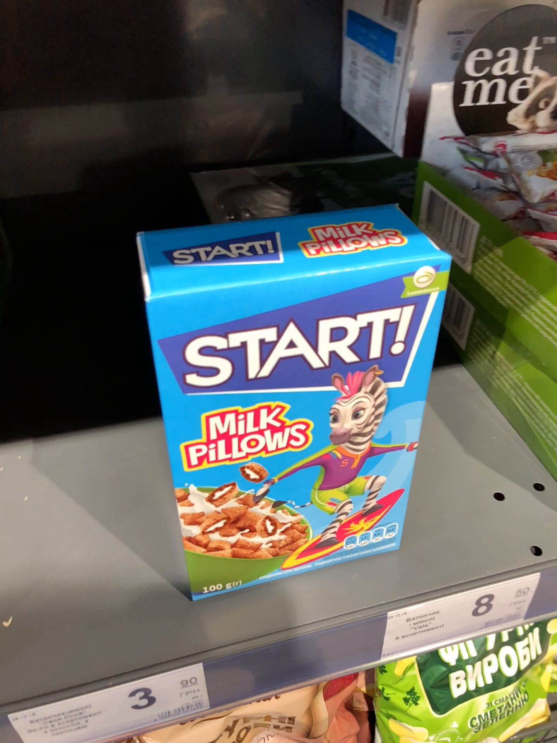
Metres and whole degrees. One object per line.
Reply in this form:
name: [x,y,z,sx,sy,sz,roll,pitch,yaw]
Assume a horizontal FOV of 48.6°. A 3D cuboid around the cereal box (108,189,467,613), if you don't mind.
cereal box: [-0.001,0.017,0.282,0.120,0.169,0.071,-9,38,-12]
